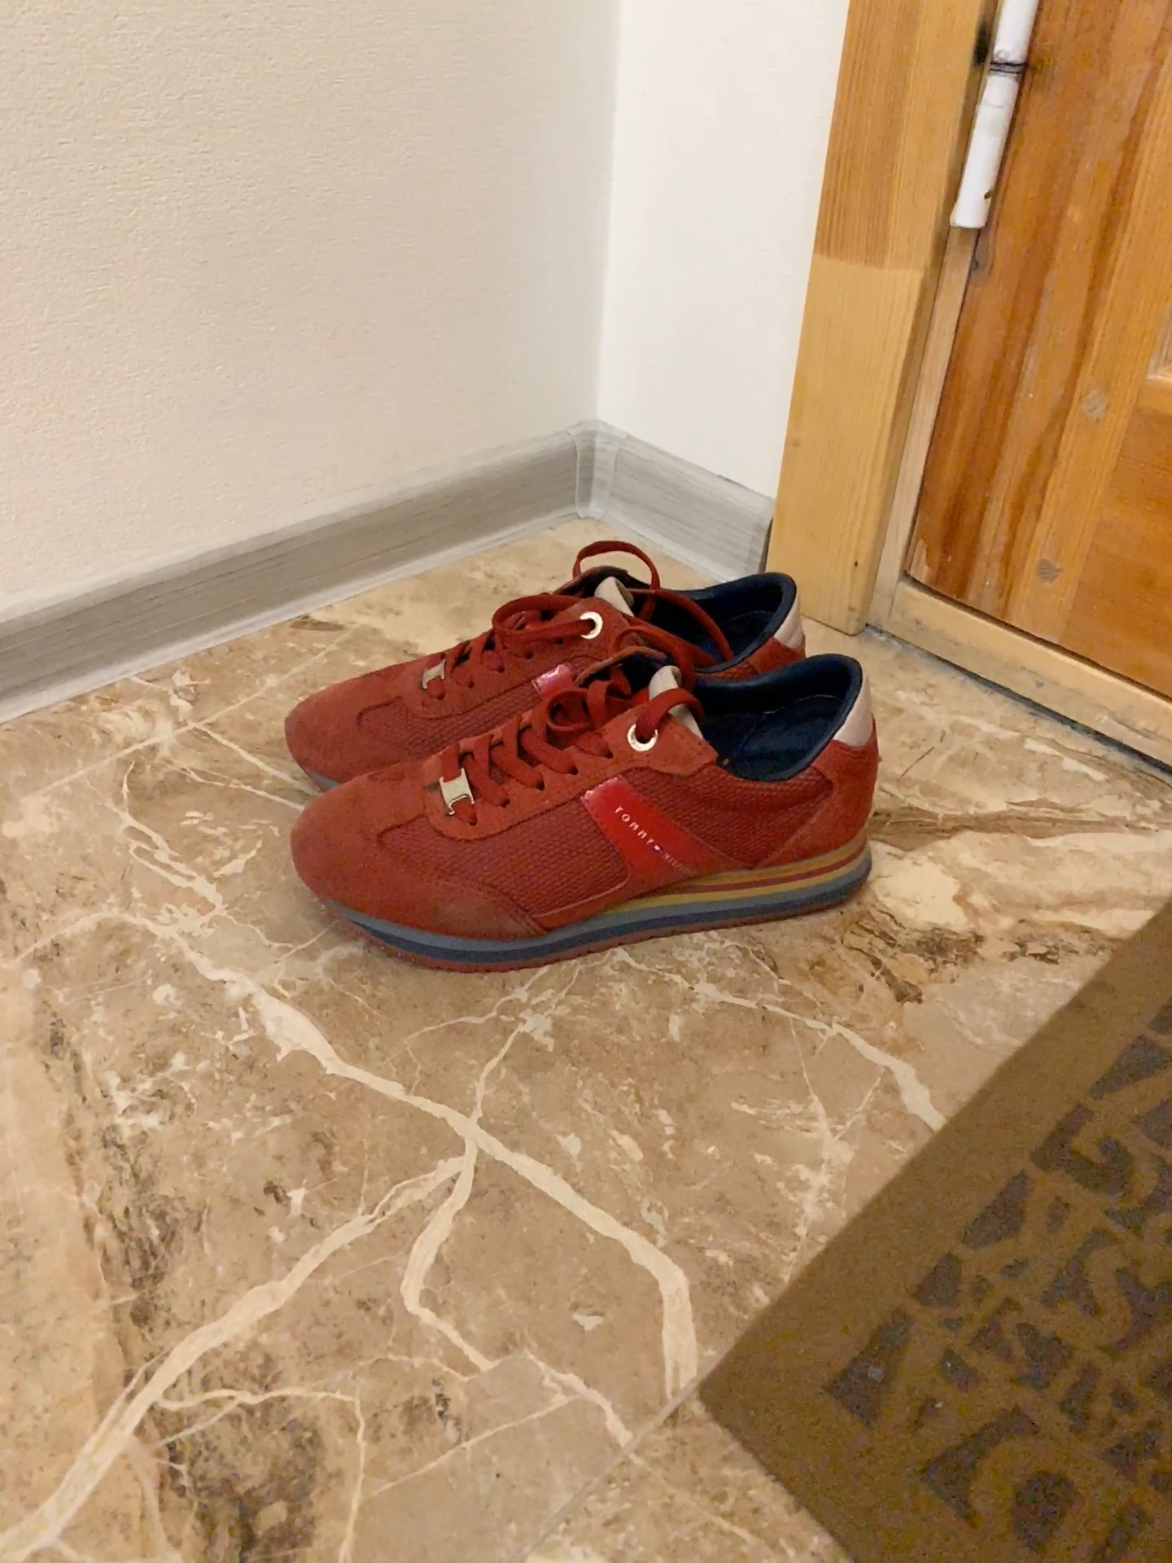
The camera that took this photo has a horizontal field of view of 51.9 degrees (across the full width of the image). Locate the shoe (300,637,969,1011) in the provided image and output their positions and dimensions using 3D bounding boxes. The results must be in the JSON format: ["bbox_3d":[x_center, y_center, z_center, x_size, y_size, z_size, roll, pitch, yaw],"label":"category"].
[{"bbox_3d":[0.014,0.012,0.485,0.240,0.089,0.091,-6,37,-12],"label":"shoe"}]

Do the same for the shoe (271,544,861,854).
[{"bbox_3d":[-0.014,-0.041,0.543,0.240,0.089,0.091,-4,37,-11],"label":"shoe"}]
